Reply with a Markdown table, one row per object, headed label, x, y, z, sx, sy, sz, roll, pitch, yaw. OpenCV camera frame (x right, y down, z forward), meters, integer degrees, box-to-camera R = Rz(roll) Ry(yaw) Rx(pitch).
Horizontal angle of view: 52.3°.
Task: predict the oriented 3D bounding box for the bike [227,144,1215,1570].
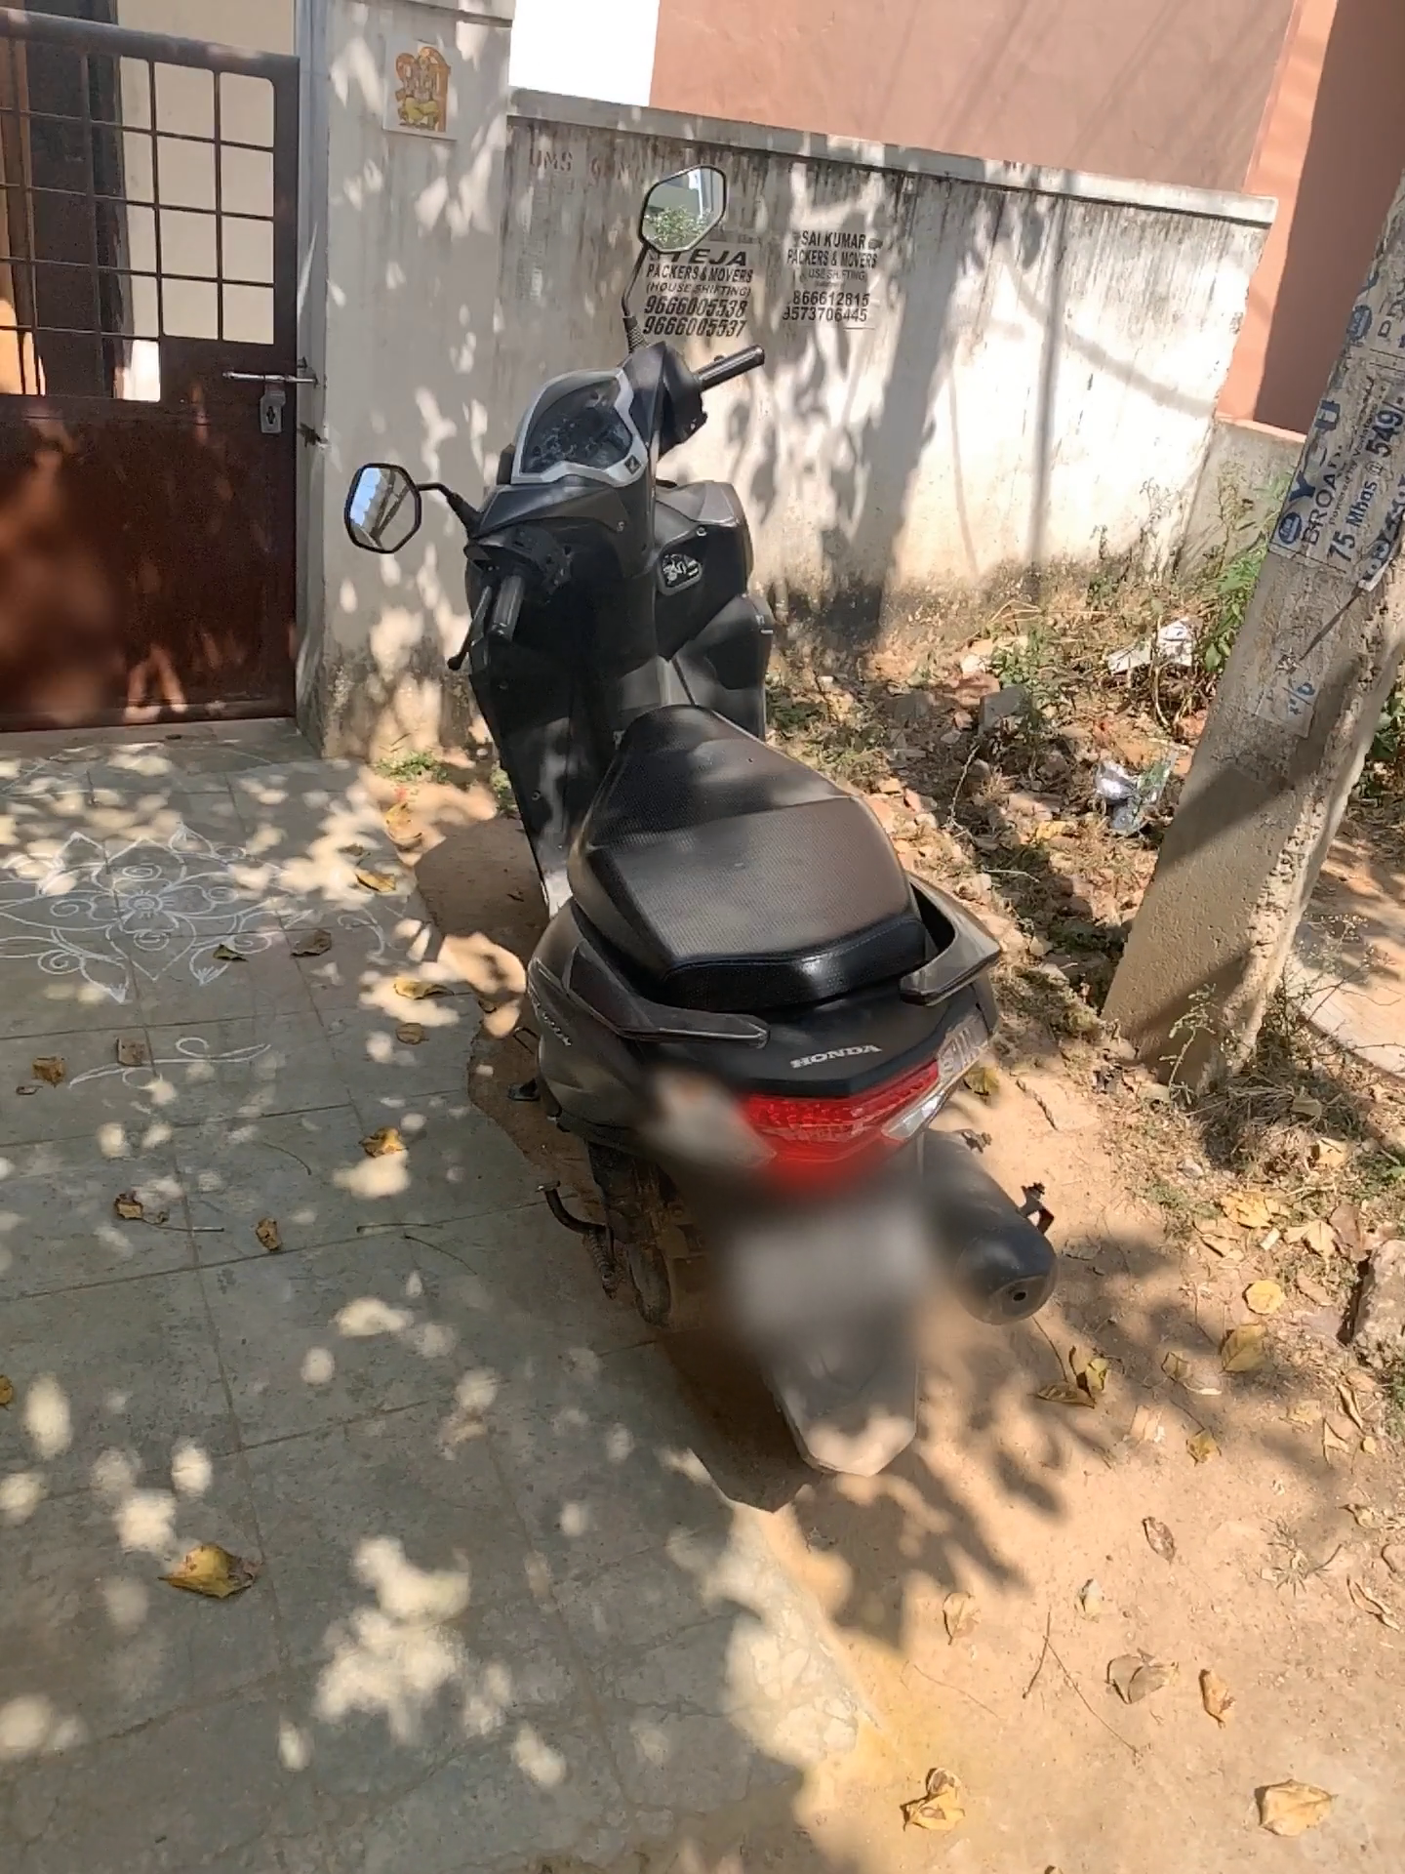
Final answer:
| label | x | y | z | sx | sy | sz | roll | pitch | yaw |
| --- | --- | --- | --- | --- | --- | --- | --- | --- | --- |
| bike | -0.221 | -0.249 | 1.950 | 0.607 | 1.177 | 1.514 | -4 | 34 | -23 |
